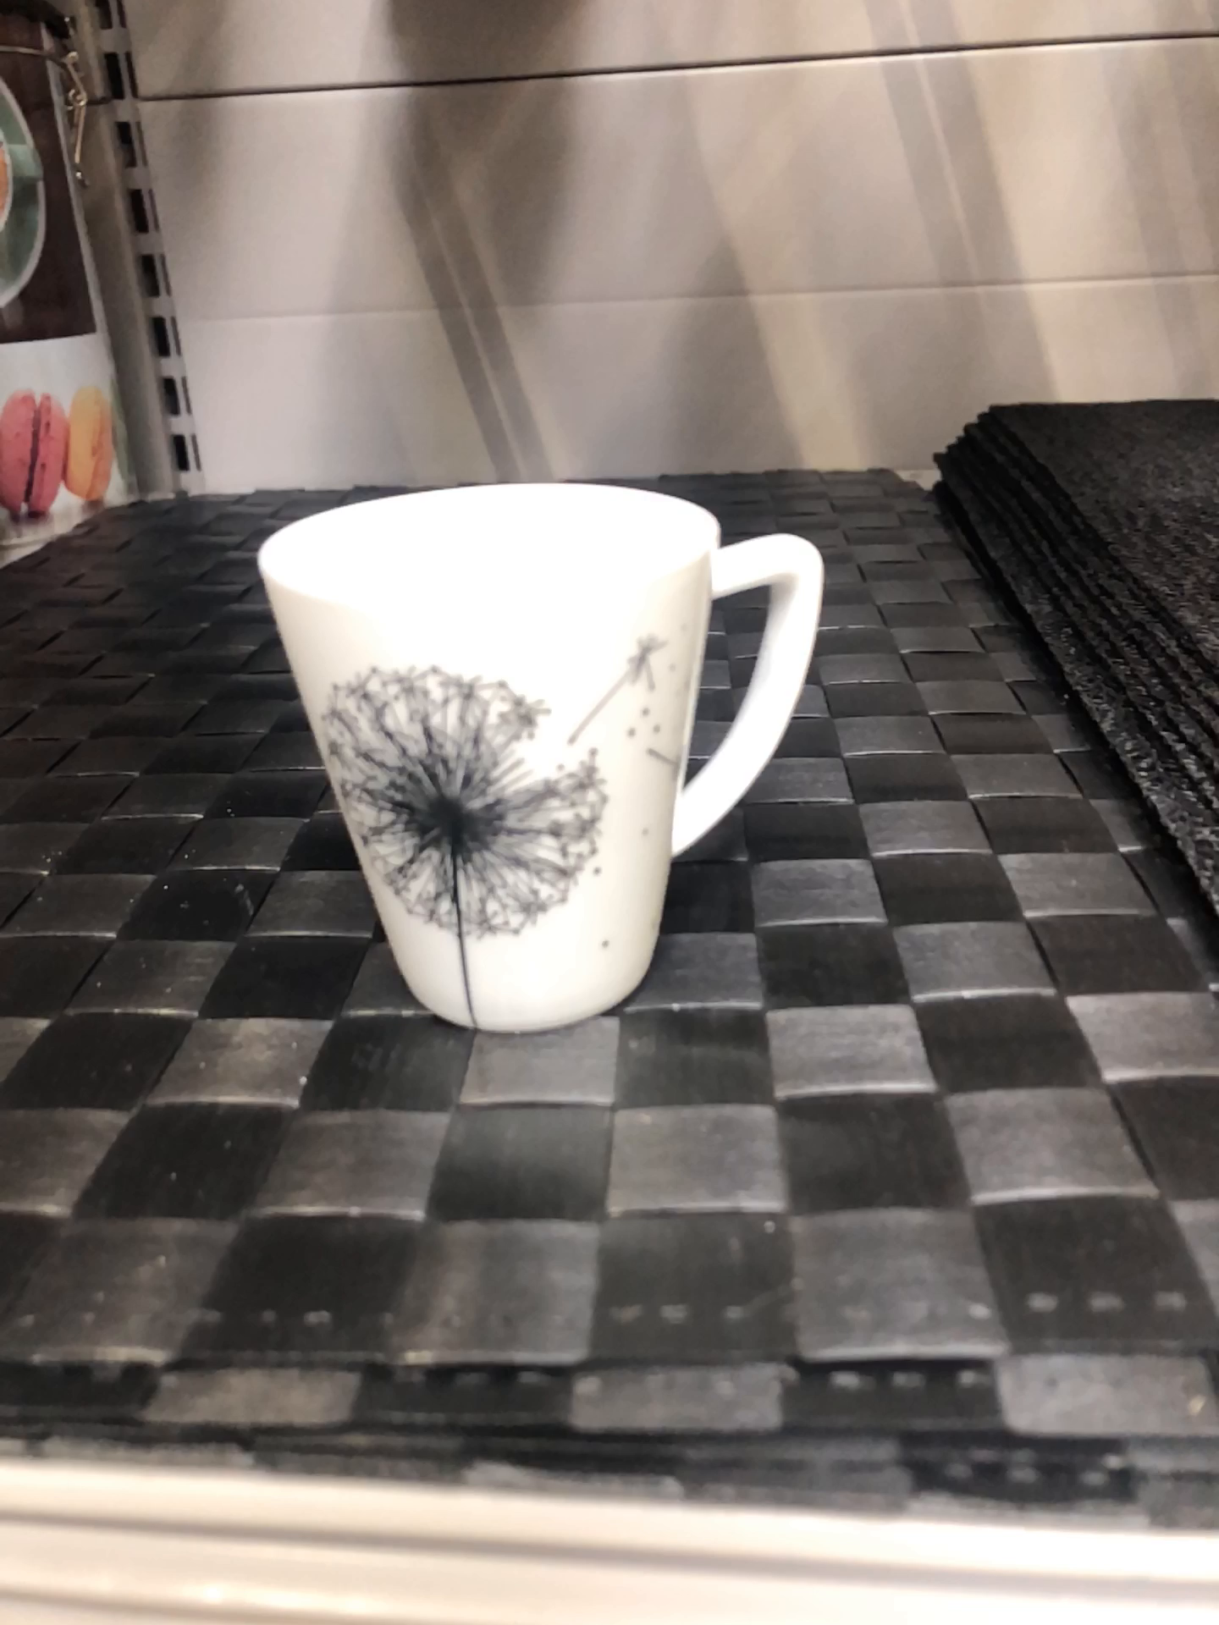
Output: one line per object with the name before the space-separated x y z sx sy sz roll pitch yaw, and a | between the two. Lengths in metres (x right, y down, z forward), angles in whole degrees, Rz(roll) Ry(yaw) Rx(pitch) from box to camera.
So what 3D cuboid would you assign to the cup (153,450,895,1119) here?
cup | -0.013 -0.009 0.189 0.081 0.060 0.057 -13 32 -20
